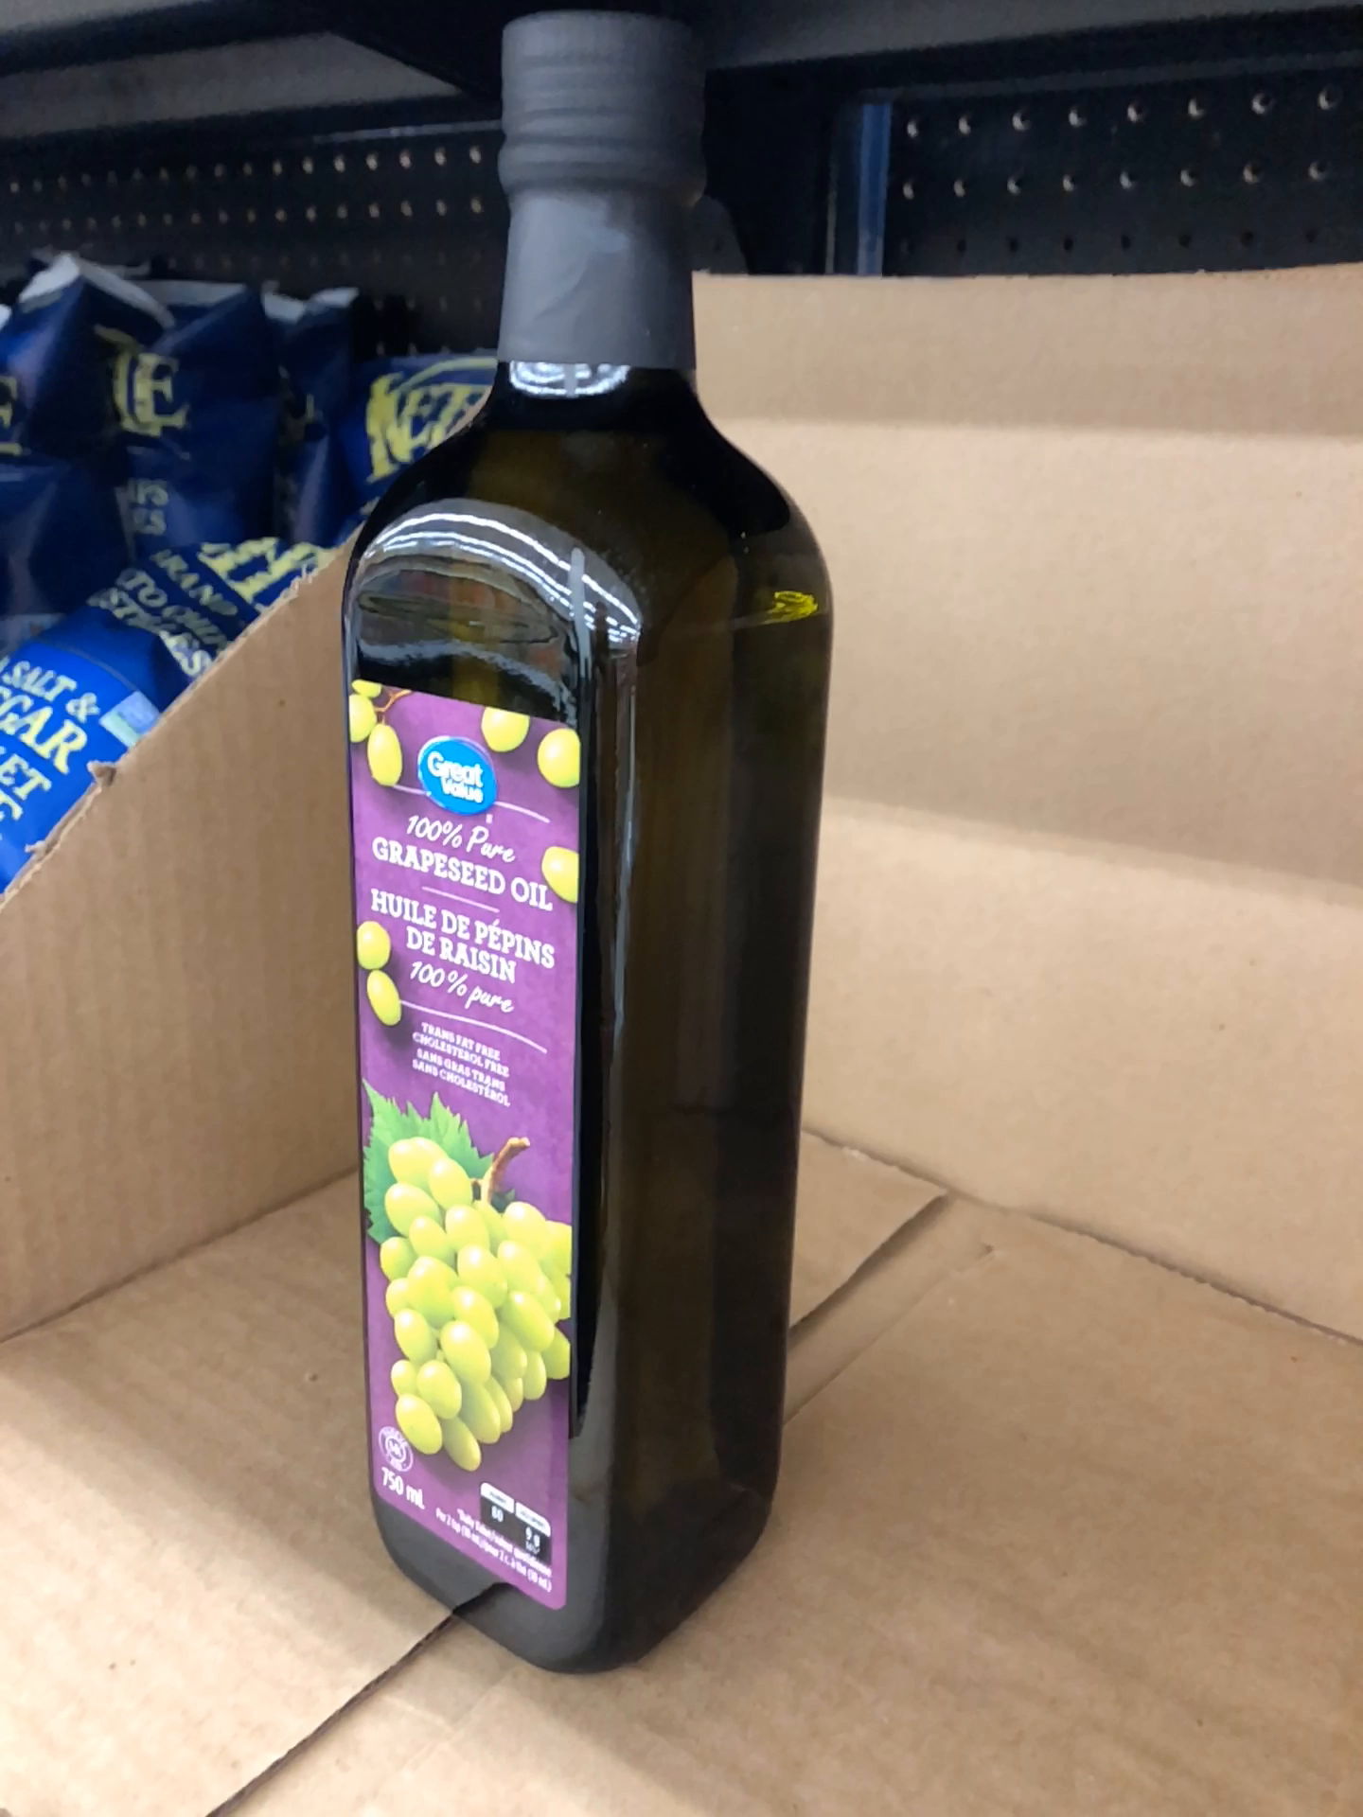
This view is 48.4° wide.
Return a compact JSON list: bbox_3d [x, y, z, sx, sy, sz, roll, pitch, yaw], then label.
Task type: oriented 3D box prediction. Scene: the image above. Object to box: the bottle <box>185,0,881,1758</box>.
[{"bbox_3d":[-0.022,0.003,0.266,0.080,0.278,0.060,15,25,35],"label":"bottle"}]
